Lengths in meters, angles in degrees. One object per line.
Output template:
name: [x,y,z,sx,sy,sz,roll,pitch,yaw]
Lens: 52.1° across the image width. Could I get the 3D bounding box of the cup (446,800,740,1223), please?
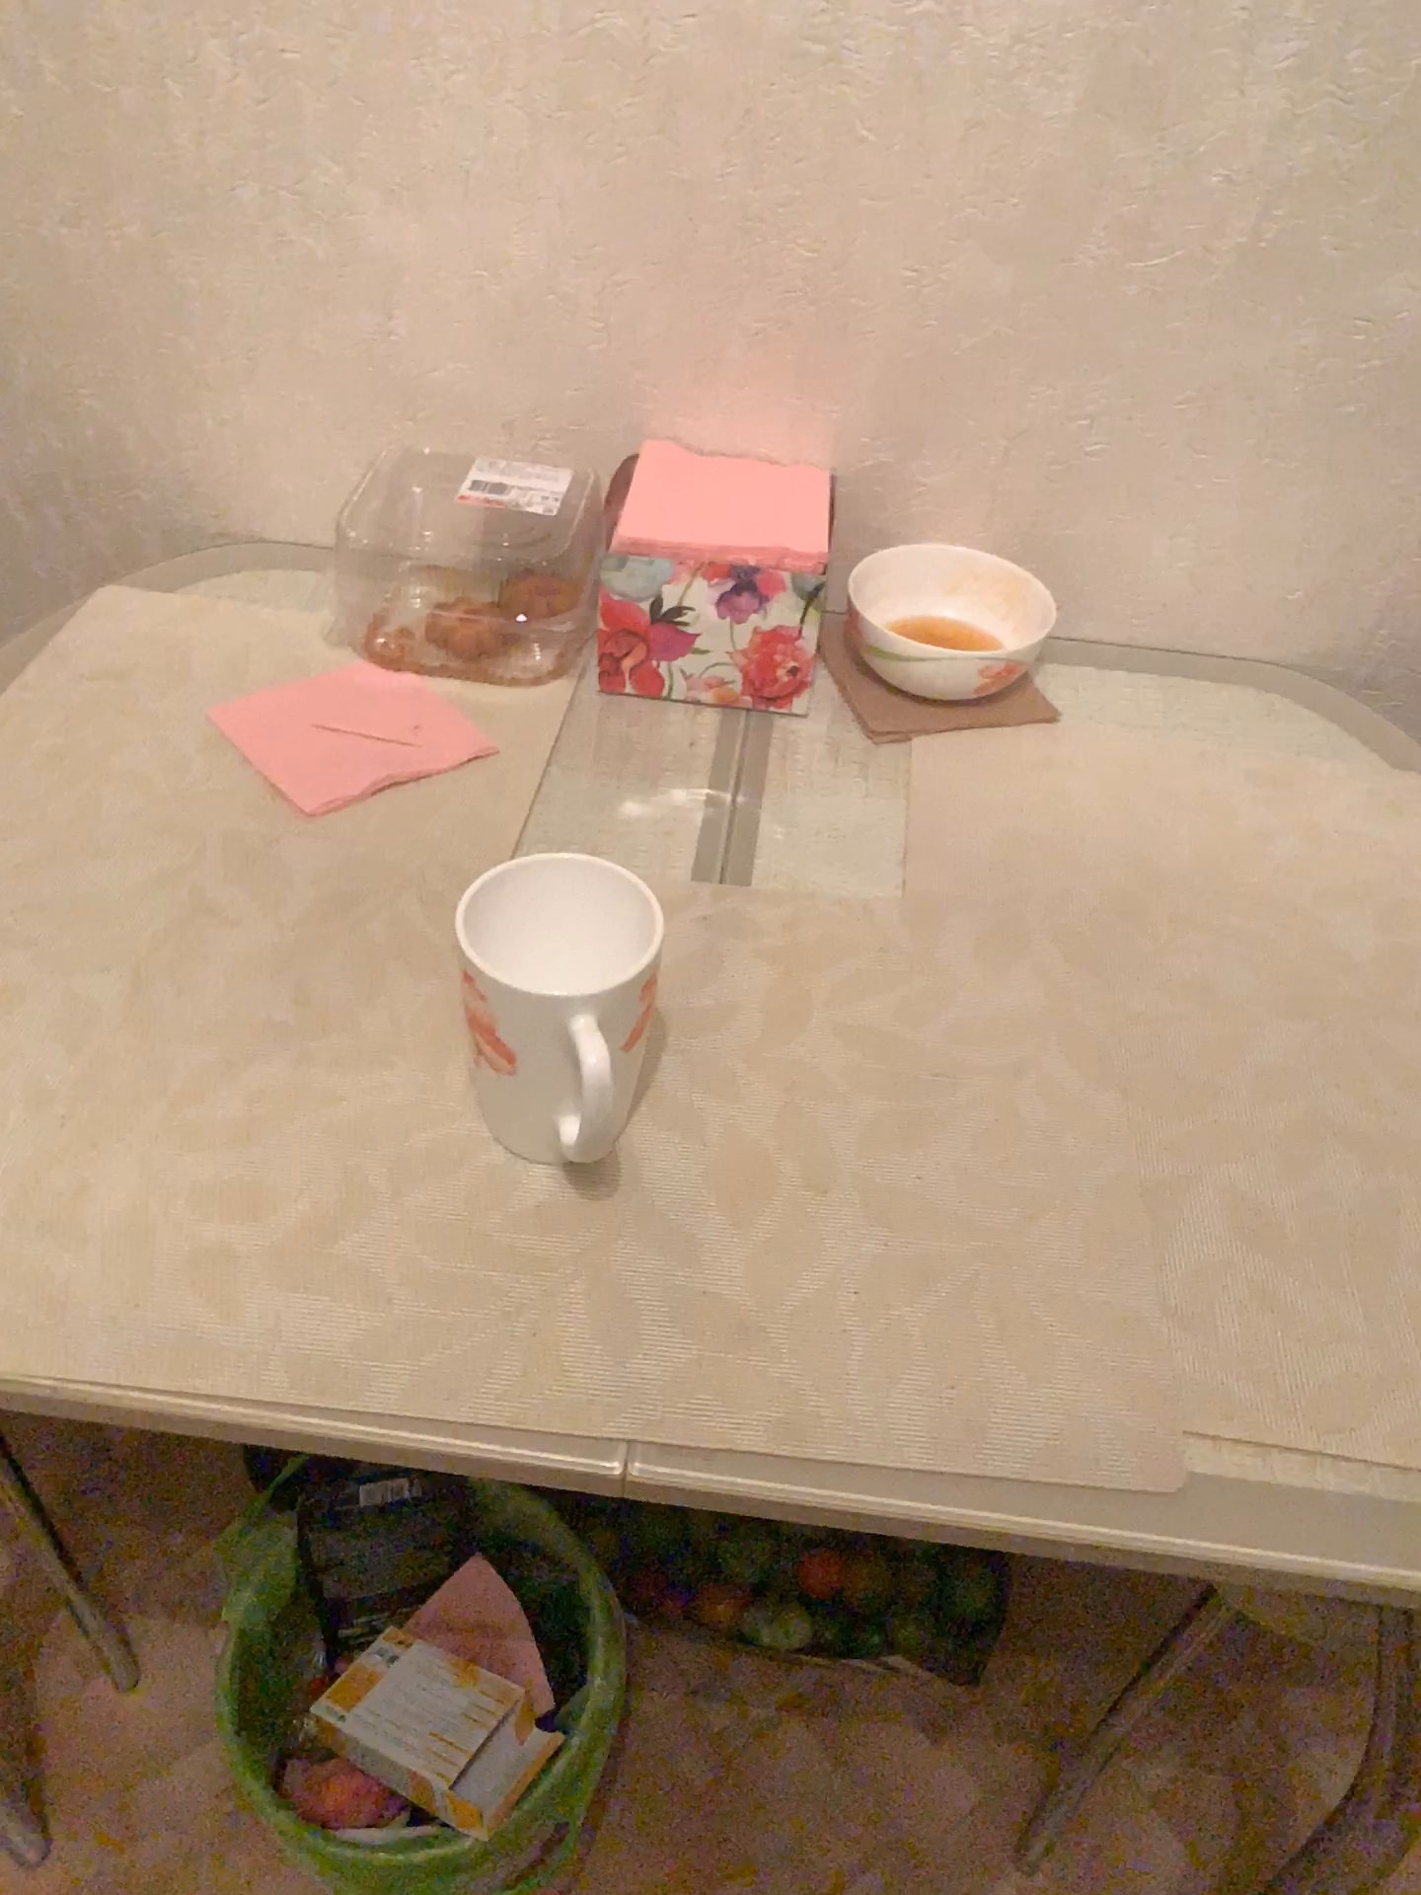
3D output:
cup: [-0.050,0.022,0.565,0.090,0.099,0.121,-6,43,-11]
